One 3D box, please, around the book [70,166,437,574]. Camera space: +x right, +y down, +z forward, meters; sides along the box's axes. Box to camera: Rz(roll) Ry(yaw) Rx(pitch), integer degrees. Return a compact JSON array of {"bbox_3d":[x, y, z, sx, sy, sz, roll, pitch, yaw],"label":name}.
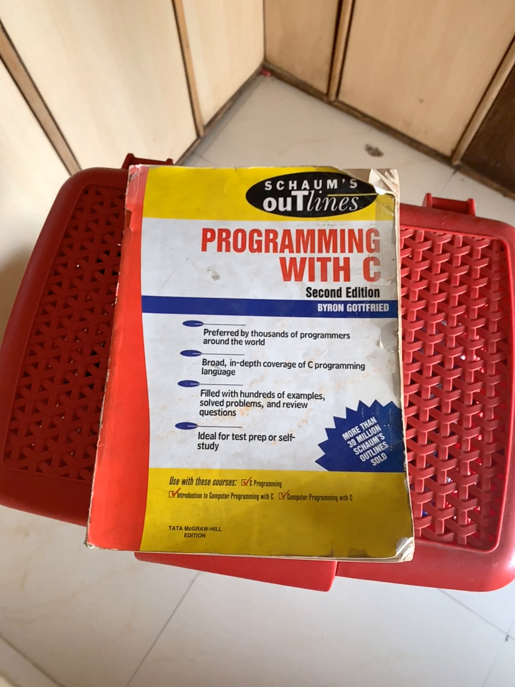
[{"bbox_3d":[0.003,0.008,0.350,0.200,0.050,0.251,2,73,2],"label":"book"}]
